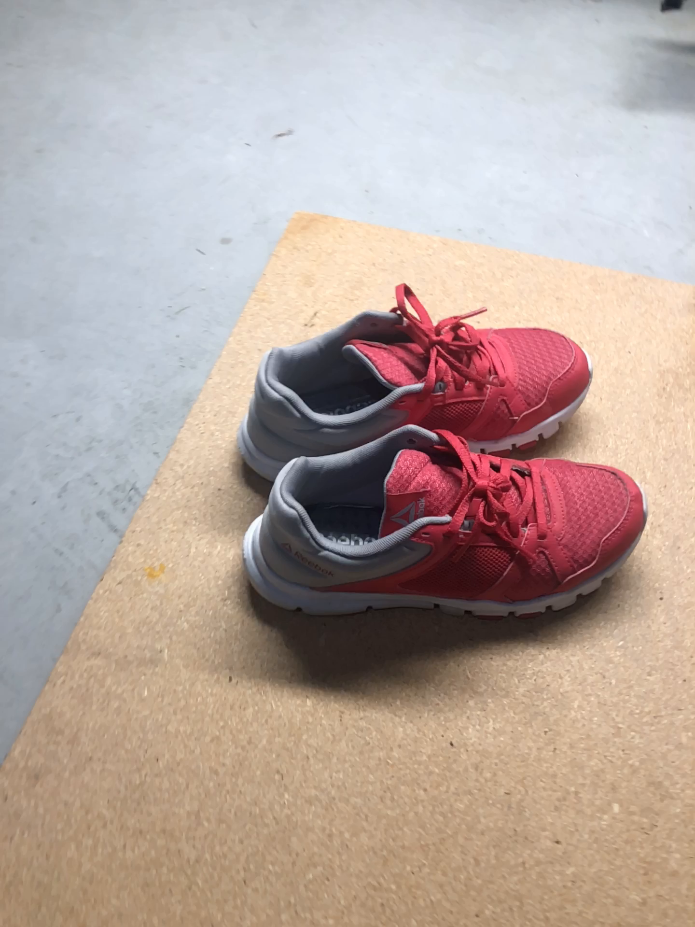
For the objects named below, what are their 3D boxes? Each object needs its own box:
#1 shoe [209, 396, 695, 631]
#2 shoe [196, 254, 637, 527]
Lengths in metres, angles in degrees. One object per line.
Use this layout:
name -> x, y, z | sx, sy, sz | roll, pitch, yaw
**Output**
shoe -> 0.059, 0.035, 0.487 | 0.270, 0.100, 0.100 | -3, 57, 1
shoe -> 0.042, -0.051, 0.546 | 0.270, 0.100, 0.110 | -11, 57, -4
